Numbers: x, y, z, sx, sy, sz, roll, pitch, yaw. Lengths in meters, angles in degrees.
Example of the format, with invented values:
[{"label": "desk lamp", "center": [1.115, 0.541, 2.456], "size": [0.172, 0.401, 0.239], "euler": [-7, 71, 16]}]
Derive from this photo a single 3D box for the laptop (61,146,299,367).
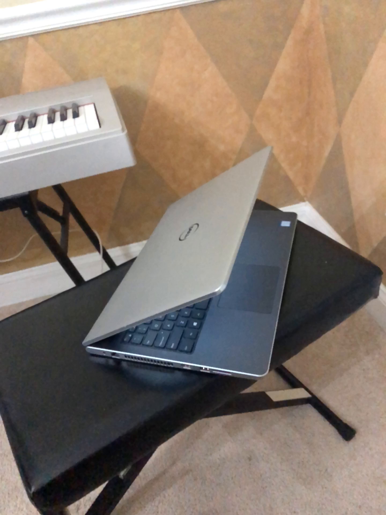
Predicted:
[{"label": "laptop", "center": [0.018, -0.037, 0.683], "size": [0.256, 0.132, 0.378], "euler": [5, 40, 16]}]
